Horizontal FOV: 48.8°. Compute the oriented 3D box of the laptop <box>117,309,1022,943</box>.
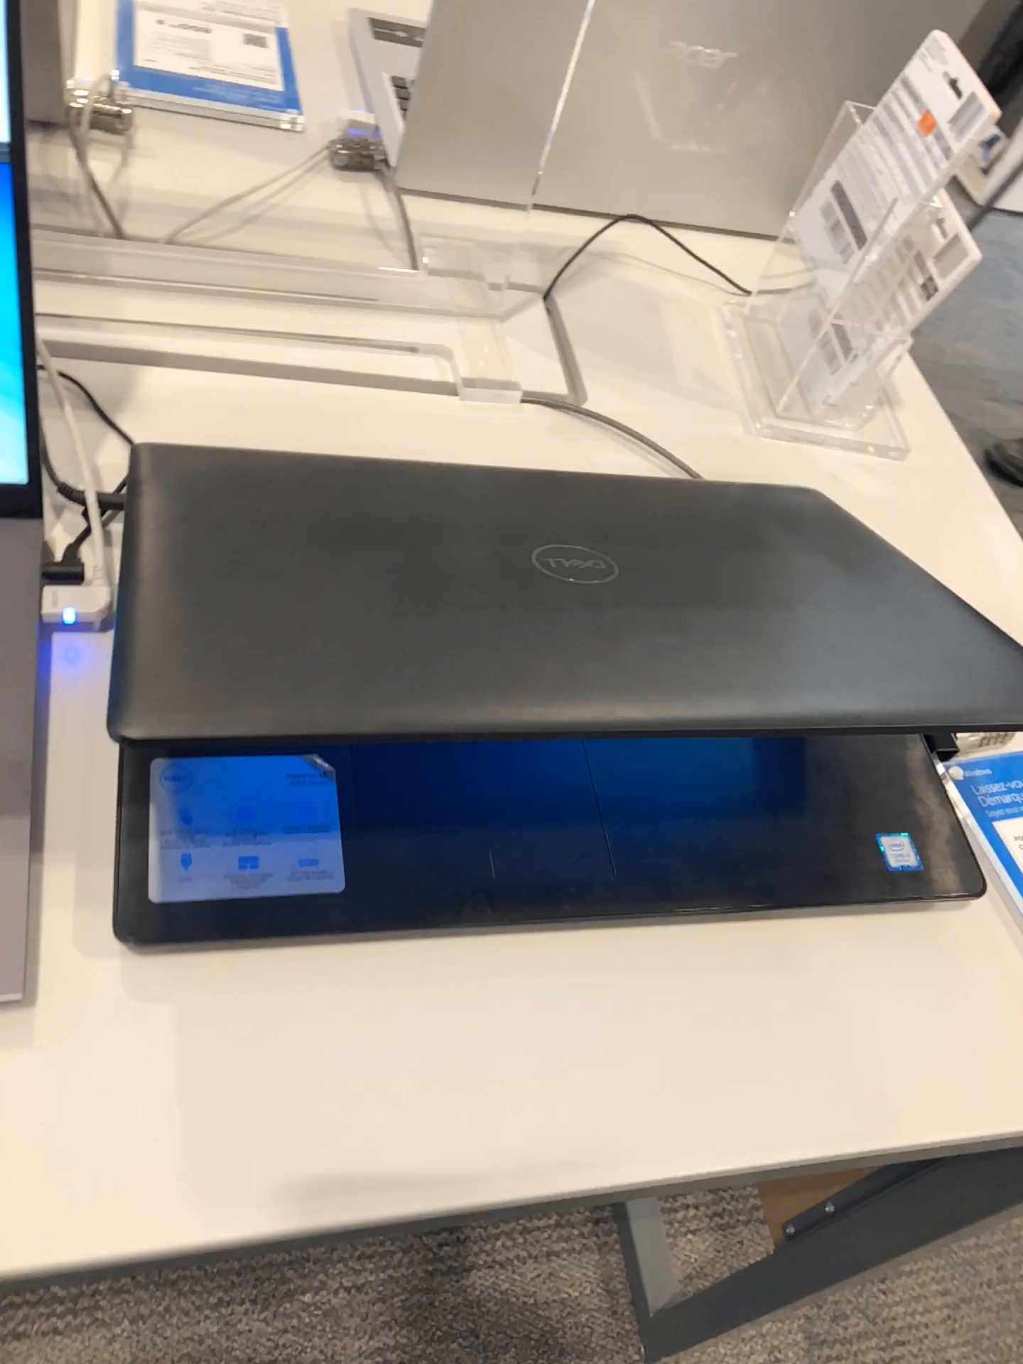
[{"bbox_3d":[0.030,-0.031,0.485,0.365,0.080,0.245,1,52,-19],"label":"laptop"}]
